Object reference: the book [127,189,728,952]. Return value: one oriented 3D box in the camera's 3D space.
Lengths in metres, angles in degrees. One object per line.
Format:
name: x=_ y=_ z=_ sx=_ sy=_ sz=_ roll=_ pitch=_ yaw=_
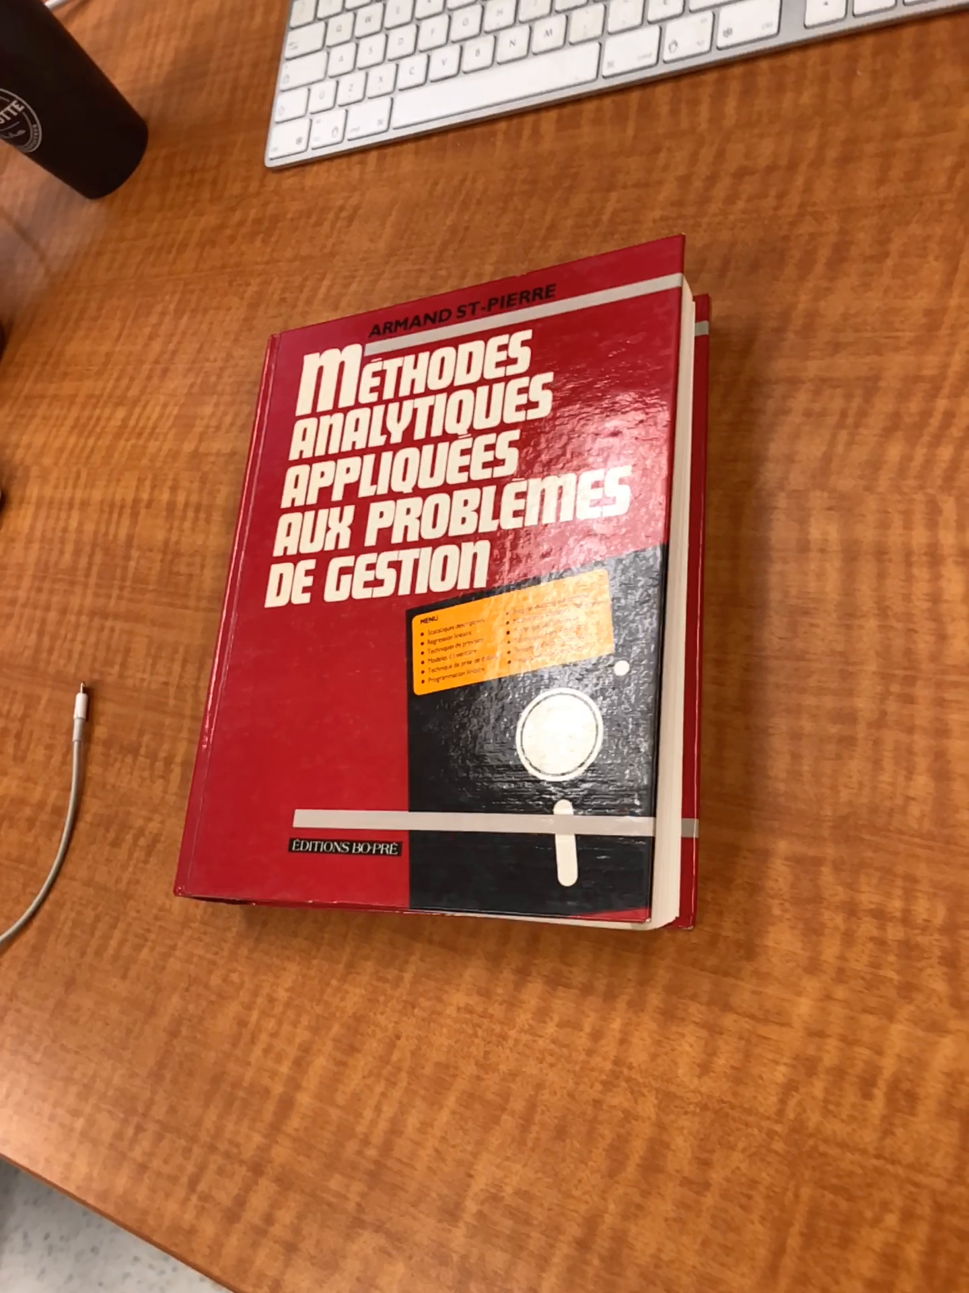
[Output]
book: x=-0.018 y=-0.025 z=0.400 sx=0.201 sy=0.050 sz=0.250 roll=-4 pitch=71 yaw=28
